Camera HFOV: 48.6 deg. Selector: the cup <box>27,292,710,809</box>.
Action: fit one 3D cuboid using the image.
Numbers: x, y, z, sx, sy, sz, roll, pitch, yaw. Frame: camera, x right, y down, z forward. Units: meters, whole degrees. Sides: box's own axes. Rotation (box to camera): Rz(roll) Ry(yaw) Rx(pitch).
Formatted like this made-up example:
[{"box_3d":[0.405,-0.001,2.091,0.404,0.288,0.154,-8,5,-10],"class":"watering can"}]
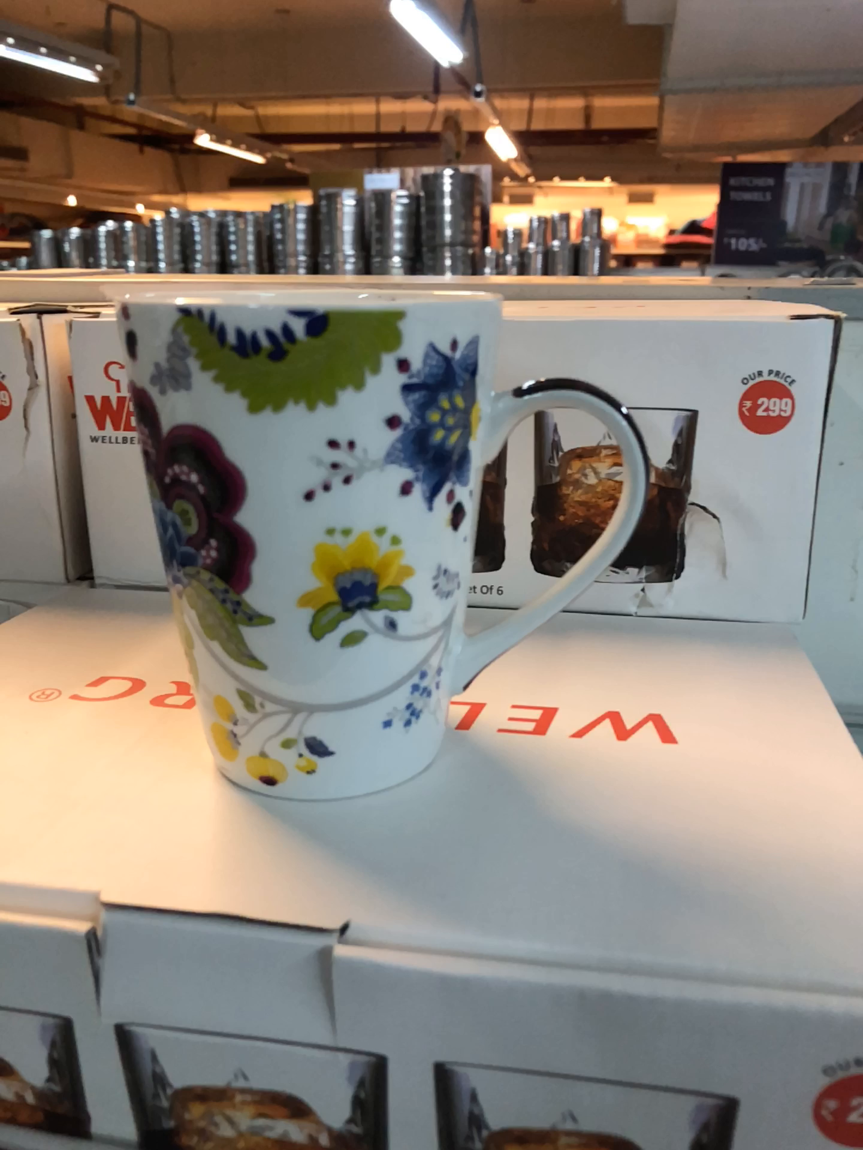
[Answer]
[{"box_3d":[-0.012,-0.012,0.221,0.120,0.100,0.080,1,17,-1],"class":"cup"}]
